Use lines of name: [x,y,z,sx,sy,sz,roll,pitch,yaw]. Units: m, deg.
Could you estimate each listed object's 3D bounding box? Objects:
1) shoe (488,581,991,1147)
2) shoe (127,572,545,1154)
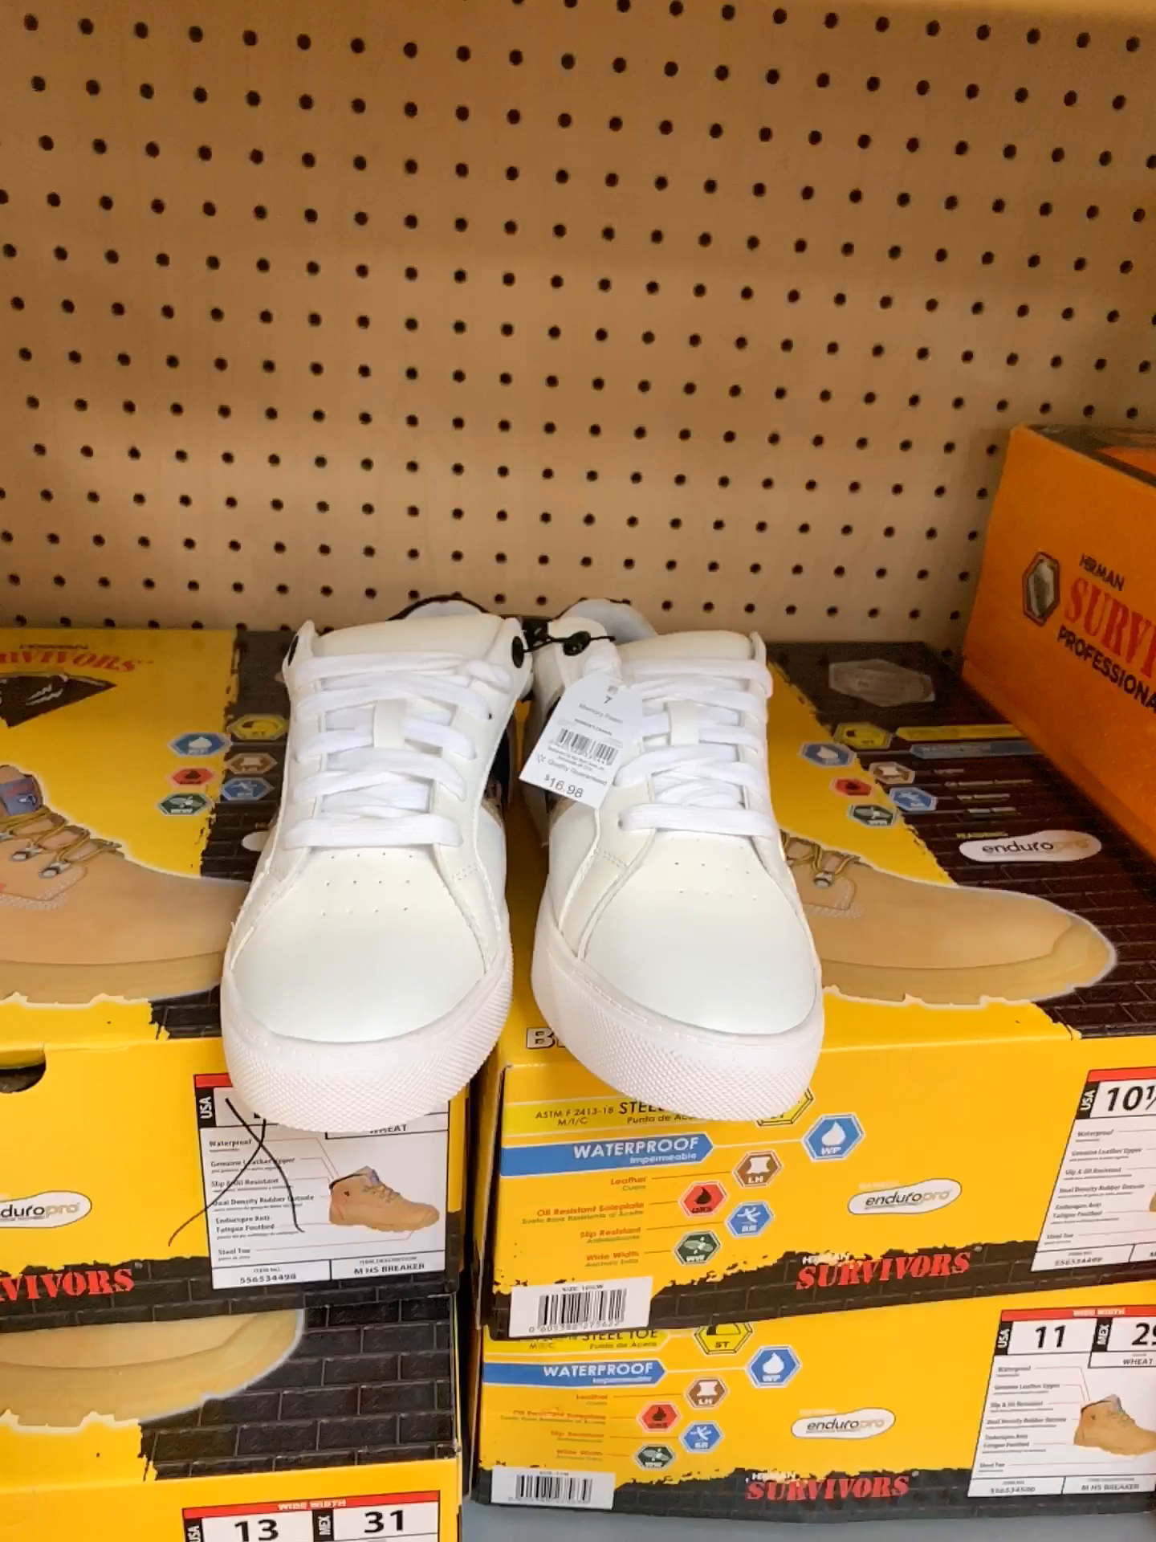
shoe: [0.034,0.013,0.419,0.102,0.070,0.242,2,29,-12]
shoe: [-0.063,0.010,0.413,0.100,0.072,0.246,3,29,-3]
